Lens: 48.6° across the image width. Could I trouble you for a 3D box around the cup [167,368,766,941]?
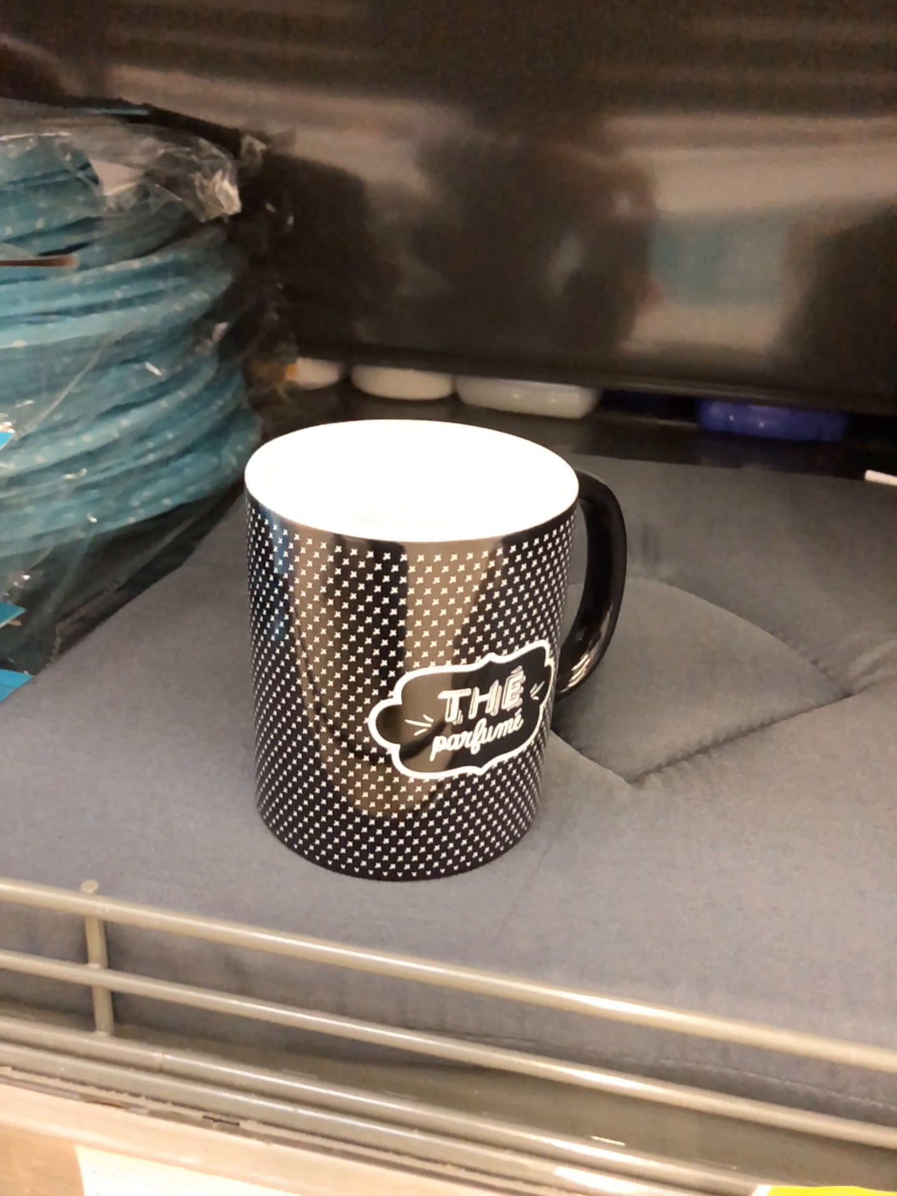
[{"bbox_3d":[0.002,0.003,0.270,0.121,0.099,0.090,-15,31,-33],"label":"cup"}]
